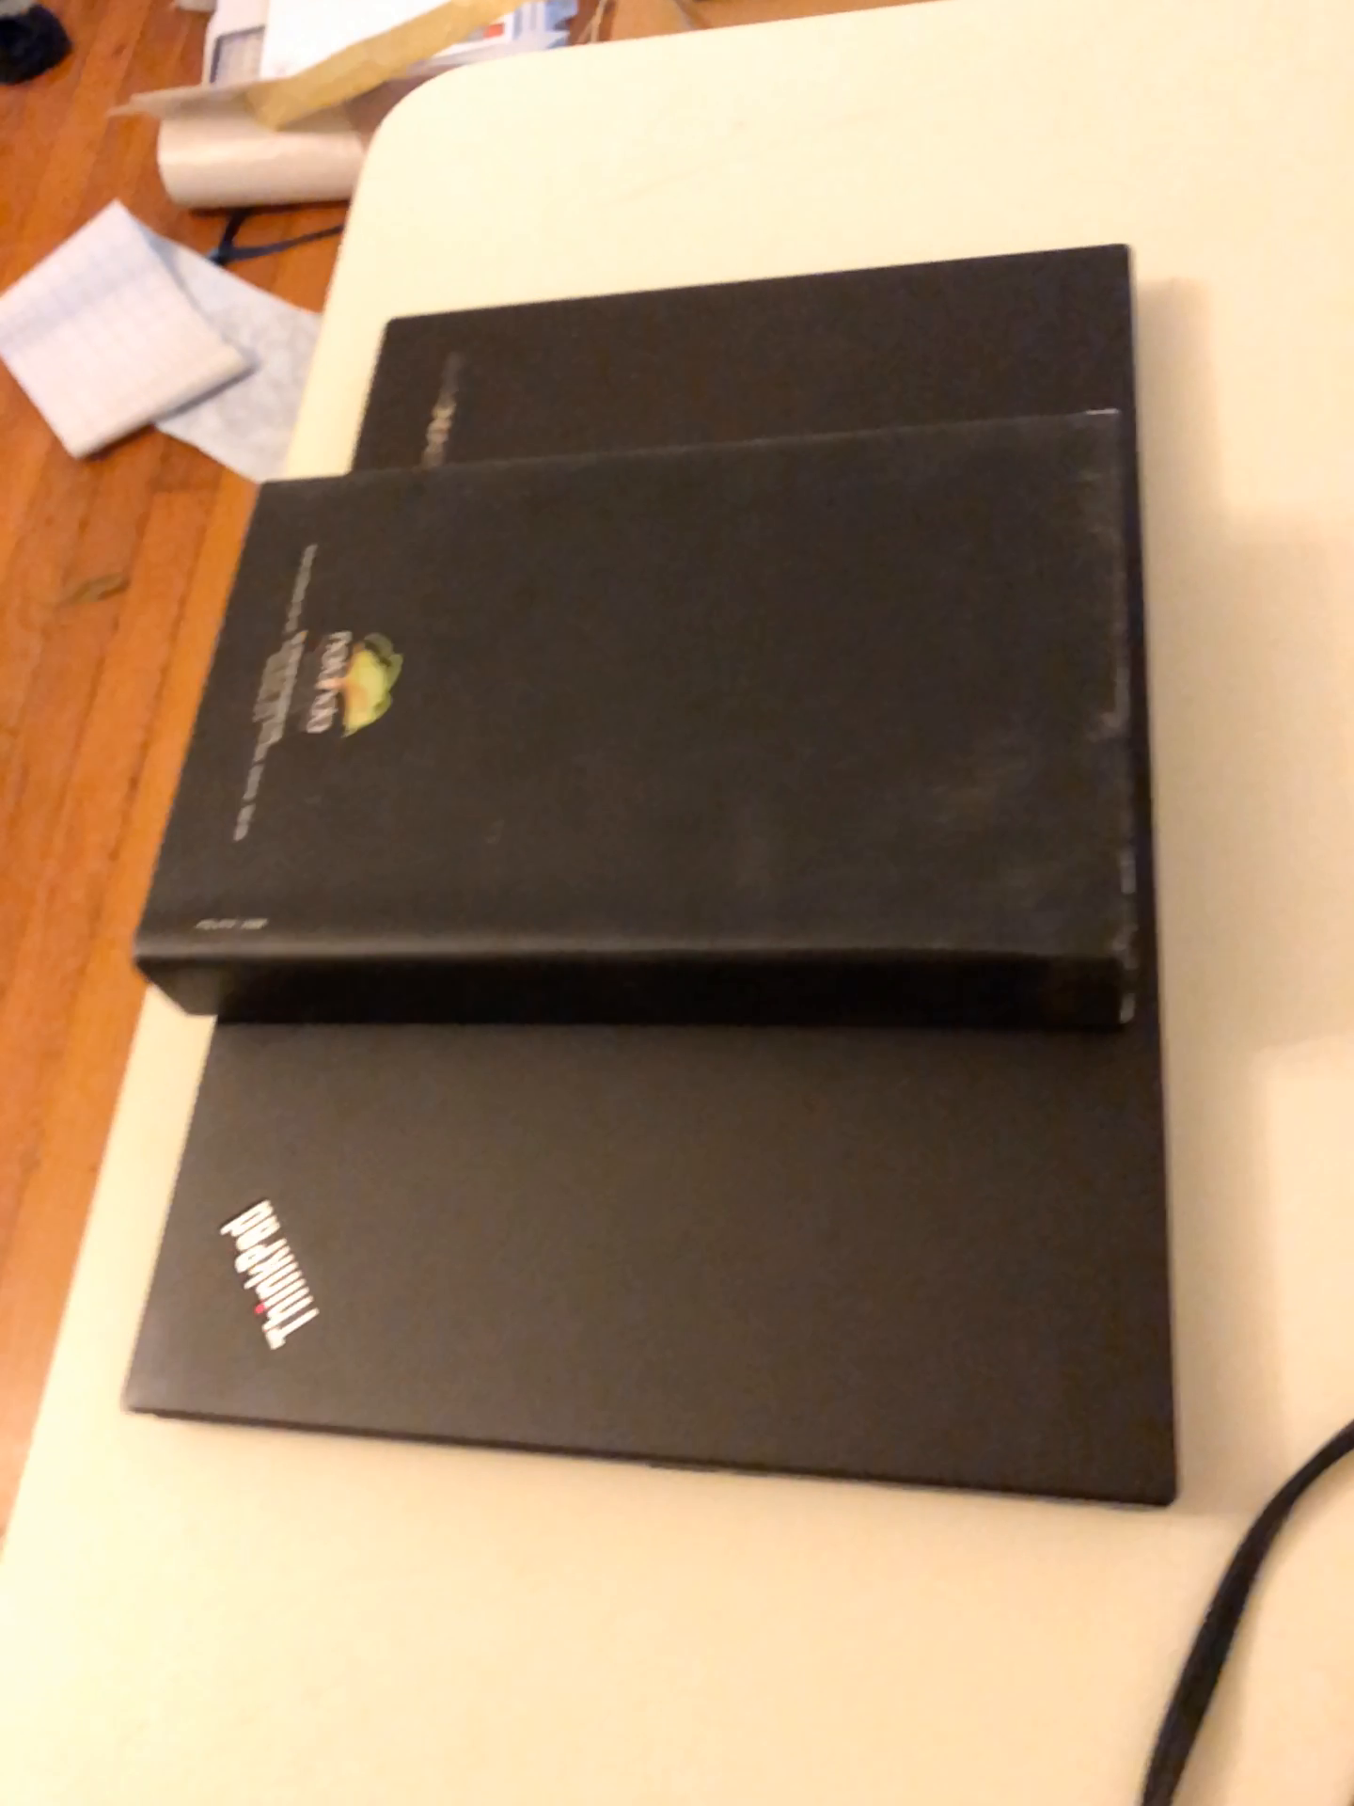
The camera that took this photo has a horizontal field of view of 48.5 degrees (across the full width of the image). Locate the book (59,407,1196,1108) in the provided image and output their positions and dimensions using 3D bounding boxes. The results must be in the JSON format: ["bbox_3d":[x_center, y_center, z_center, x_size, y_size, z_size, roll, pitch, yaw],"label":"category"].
[{"bbox_3d":[-0.008,-0.036,0.345,0.230,0.040,0.150,1,64,12],"label":"book"}]
